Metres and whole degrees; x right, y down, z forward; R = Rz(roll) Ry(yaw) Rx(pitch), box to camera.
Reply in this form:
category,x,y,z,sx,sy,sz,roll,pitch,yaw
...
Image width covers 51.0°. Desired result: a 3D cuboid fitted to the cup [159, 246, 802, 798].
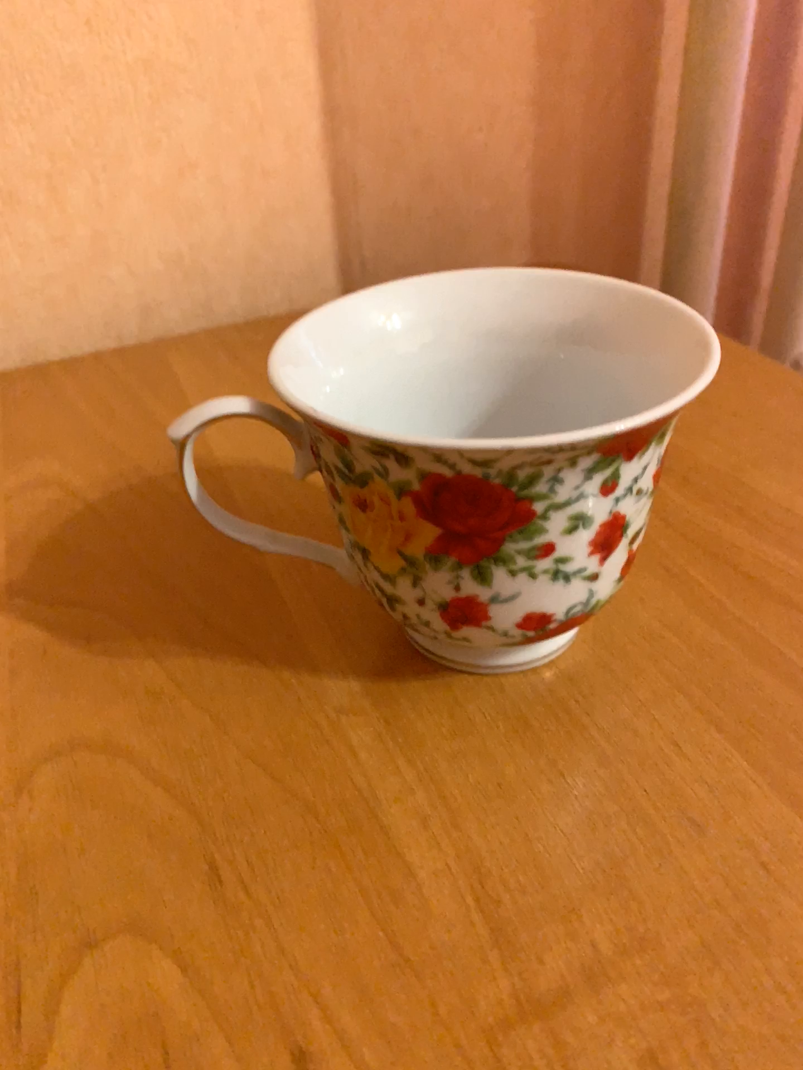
category,x,y,z,sx,sy,sz,roll,pitch,yaw
cup,0.012,-0.013,0.198,0.120,0.067,0.100,-11,35,-9
